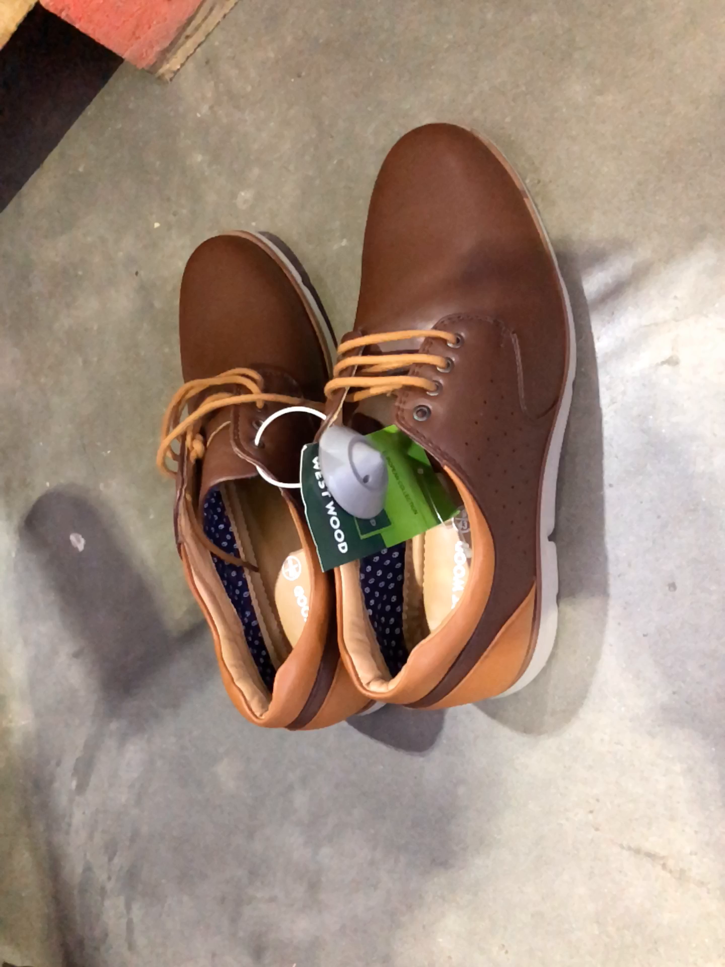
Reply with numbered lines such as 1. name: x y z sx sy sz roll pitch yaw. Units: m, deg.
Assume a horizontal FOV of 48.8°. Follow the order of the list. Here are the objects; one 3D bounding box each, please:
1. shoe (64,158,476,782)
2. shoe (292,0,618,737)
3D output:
1. shoe: -0.053 -0.005 0.435 0.110 0.120 0.280 -24 74 28
2. shoe: 0.051 -0.047 0.418 0.120 0.130 0.310 -3 85 32
